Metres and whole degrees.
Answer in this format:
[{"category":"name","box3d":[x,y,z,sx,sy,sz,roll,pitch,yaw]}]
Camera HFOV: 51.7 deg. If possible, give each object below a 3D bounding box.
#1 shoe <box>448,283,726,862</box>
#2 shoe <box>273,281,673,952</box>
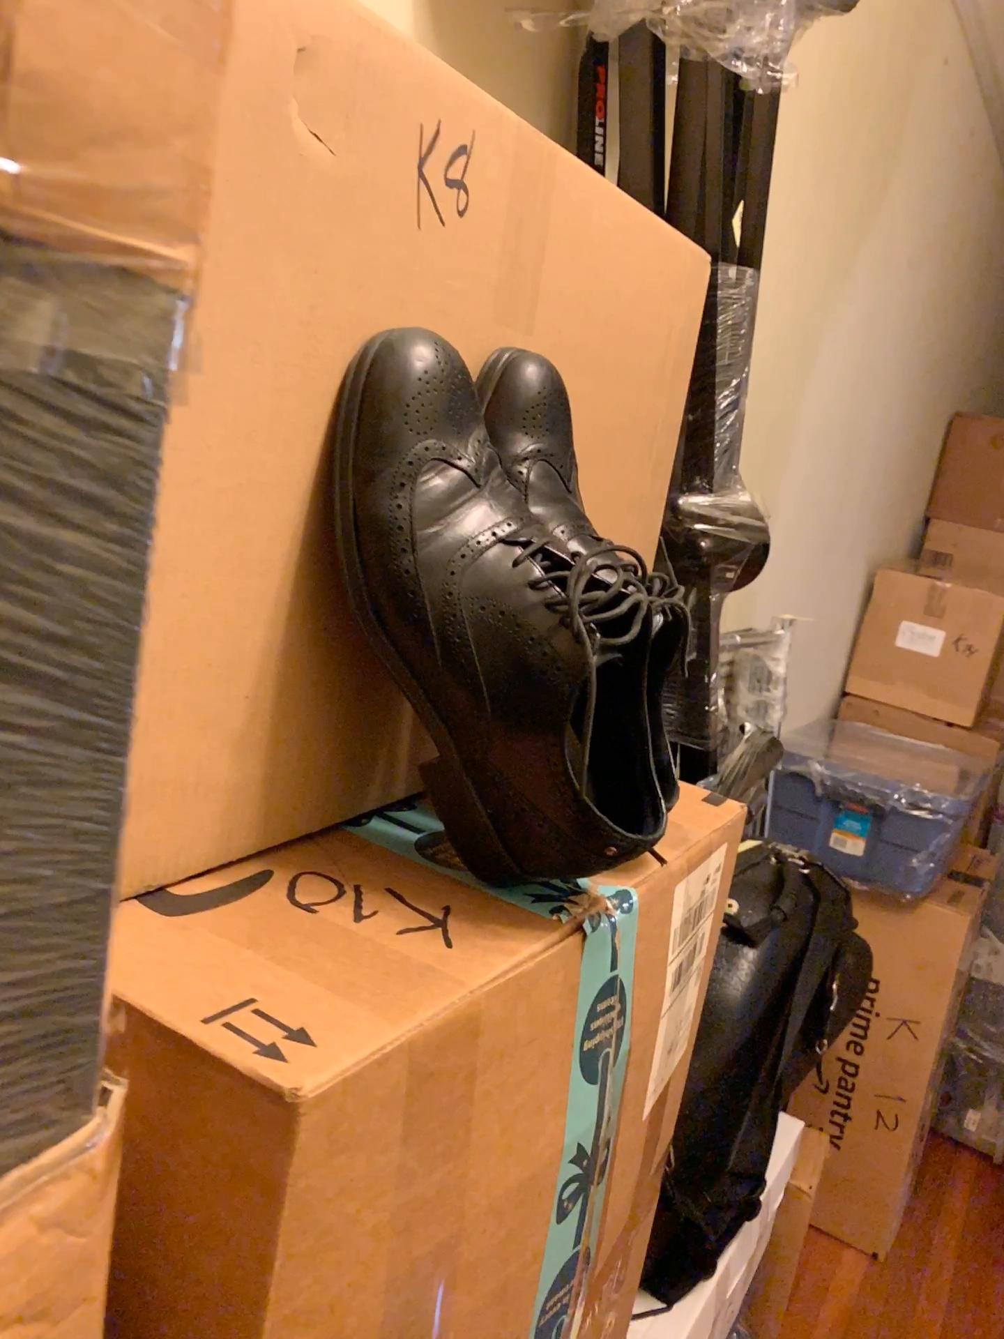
[{"category":"shoe","box3d":[0.052,-0.050,0.577,0.100,0.280,0.120,-1,4,28]},{"category":"shoe","box3d":[-0.002,-0.027,0.493,0.100,0.279,0.121,-3,15,27]}]
